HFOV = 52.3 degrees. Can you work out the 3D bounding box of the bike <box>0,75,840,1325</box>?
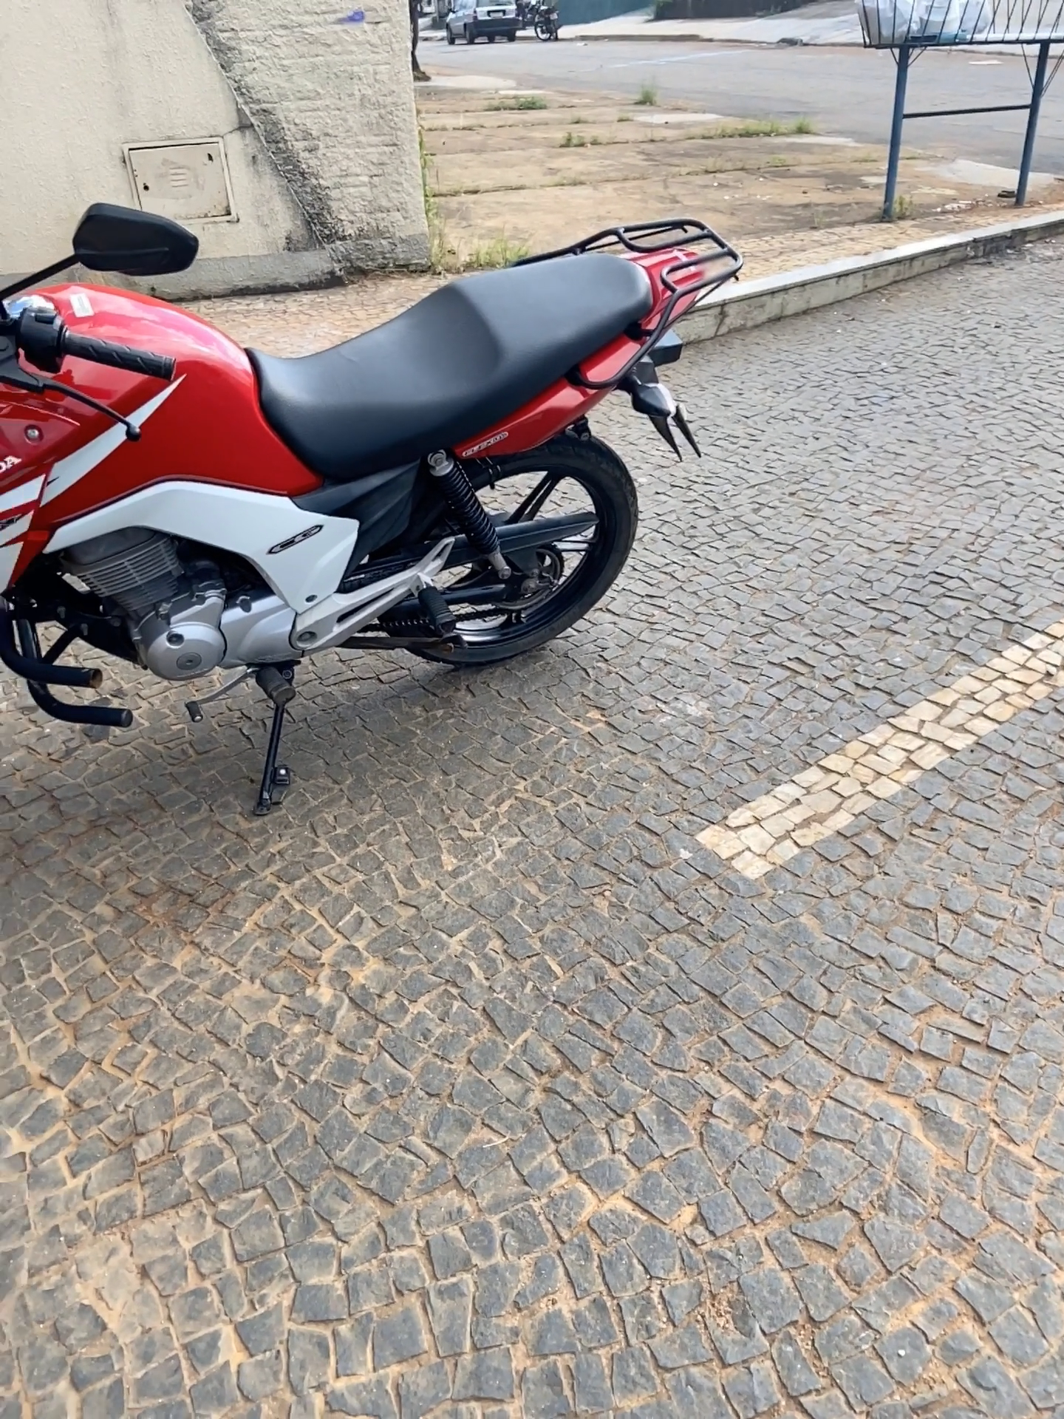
[{"bbox_3d":[-0.492,-0.277,1.943,2.076,1.382,0.812,-25,37,-31],"label":"bike"}]
